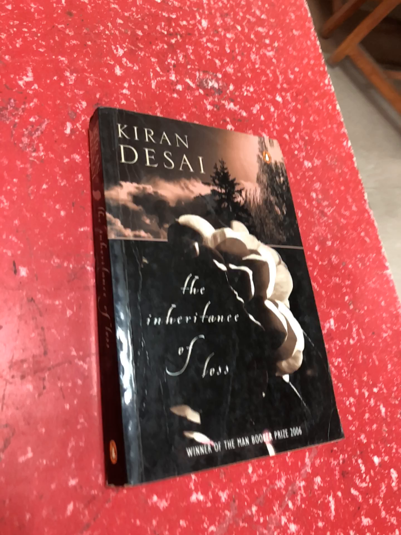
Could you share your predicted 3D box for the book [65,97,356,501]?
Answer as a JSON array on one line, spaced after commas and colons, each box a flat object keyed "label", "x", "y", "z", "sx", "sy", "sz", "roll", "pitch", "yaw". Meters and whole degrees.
[{"label": "book", "x": -0.002, "y": 0.013, "z": 0.259, "sx": 0.130, "sy": 0.060, "sz": 0.190, "roll": 2, "pitch": 70, "yaw": -28}]
